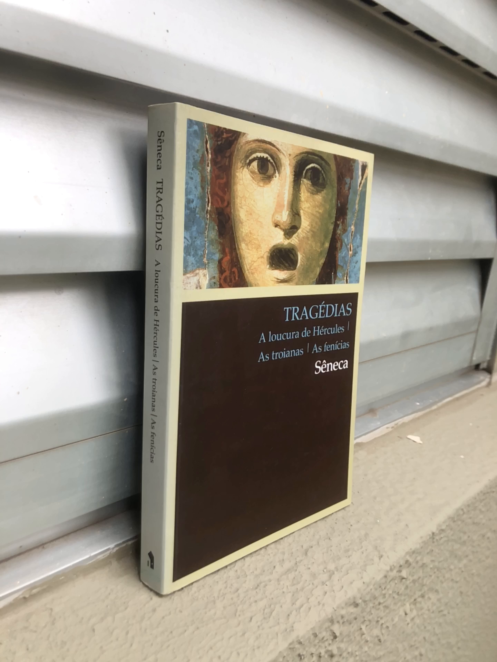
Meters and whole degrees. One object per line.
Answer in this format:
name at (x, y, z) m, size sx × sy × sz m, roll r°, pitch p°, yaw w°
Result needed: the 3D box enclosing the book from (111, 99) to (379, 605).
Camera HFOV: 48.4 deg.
book at (0.006, 0.006, 0.270) m, size 0.145 × 0.197 × 0.026 m, roll -7°, pitch 11°, yaw -42°
